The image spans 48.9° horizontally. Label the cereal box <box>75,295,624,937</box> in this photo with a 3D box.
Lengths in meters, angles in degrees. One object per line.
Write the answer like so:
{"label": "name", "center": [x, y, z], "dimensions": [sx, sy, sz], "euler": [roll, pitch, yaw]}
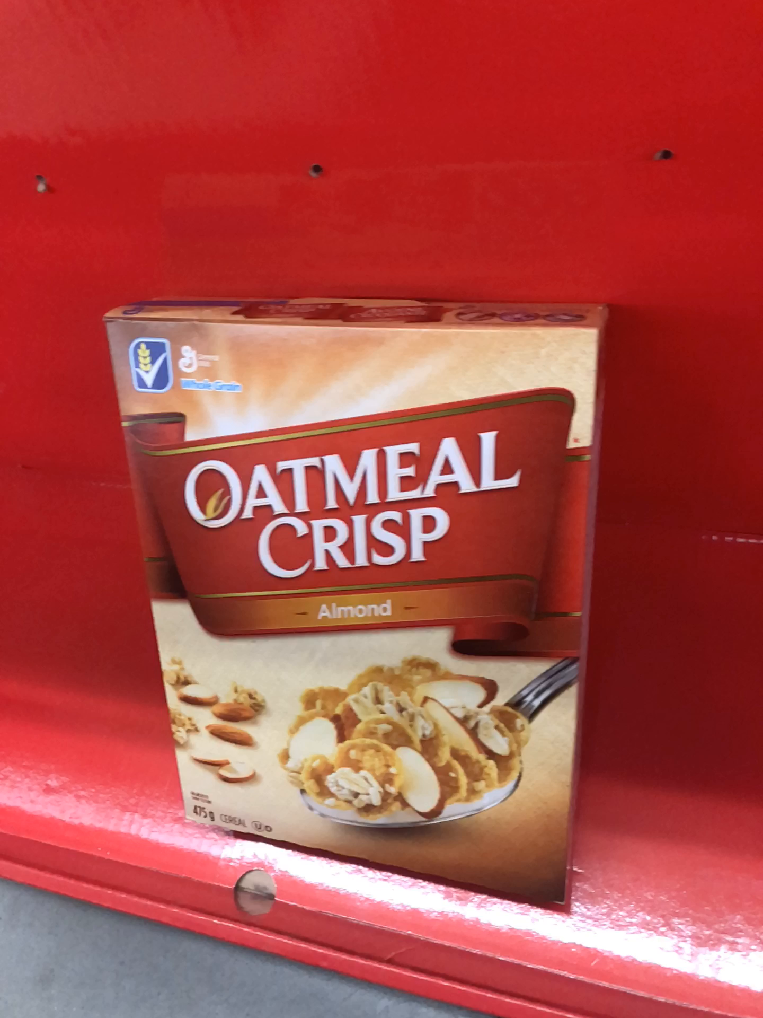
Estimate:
{"label": "cereal box", "center": [-0.009, 0.046, 0.388], "dimensions": [0.210, 0.269, 0.070], "euler": [5, 22, 15]}
